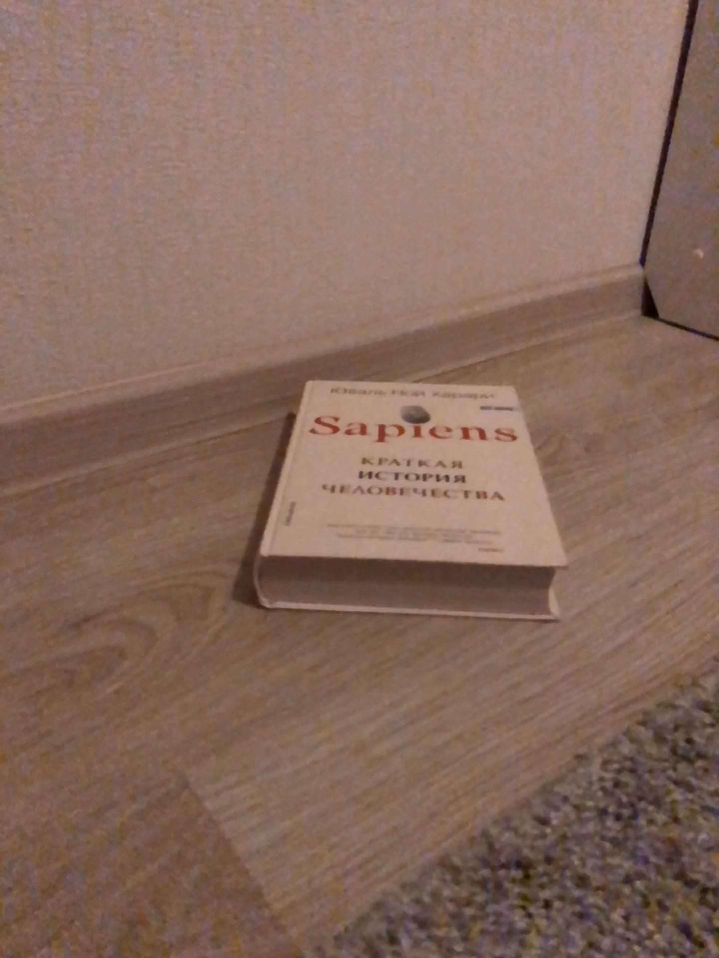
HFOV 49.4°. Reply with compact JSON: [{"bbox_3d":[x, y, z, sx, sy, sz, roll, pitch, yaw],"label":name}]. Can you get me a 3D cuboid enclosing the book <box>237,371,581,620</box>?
[{"bbox_3d":[0.031,-0.005,0.546,0.186,0.040,0.260,2,30,1],"label":"book"}]
